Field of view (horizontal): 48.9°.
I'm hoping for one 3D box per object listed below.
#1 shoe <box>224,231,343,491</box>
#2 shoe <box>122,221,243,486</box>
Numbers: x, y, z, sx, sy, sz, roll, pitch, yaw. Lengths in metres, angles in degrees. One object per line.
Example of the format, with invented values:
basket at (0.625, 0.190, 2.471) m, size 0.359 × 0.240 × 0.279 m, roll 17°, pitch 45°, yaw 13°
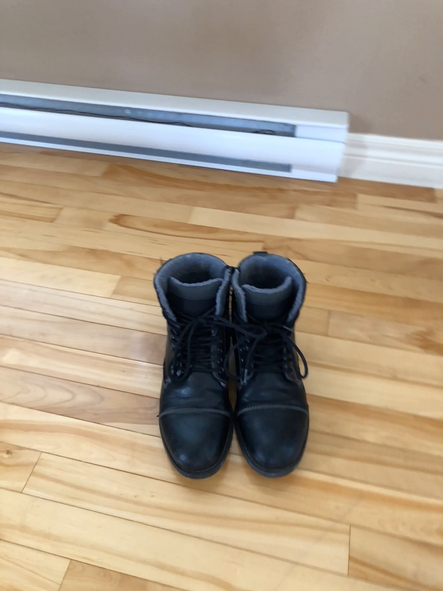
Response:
shoe at (0.068, 0.085, 0.686) m, size 0.120 × 0.199 × 0.301 m, roll -1°, pitch 48°, yaw 1°
shoe at (-0.033, 0.070, 0.655) m, size 0.120 × 0.199 × 0.291 m, roll 0°, pitch 48°, yaw 2°
